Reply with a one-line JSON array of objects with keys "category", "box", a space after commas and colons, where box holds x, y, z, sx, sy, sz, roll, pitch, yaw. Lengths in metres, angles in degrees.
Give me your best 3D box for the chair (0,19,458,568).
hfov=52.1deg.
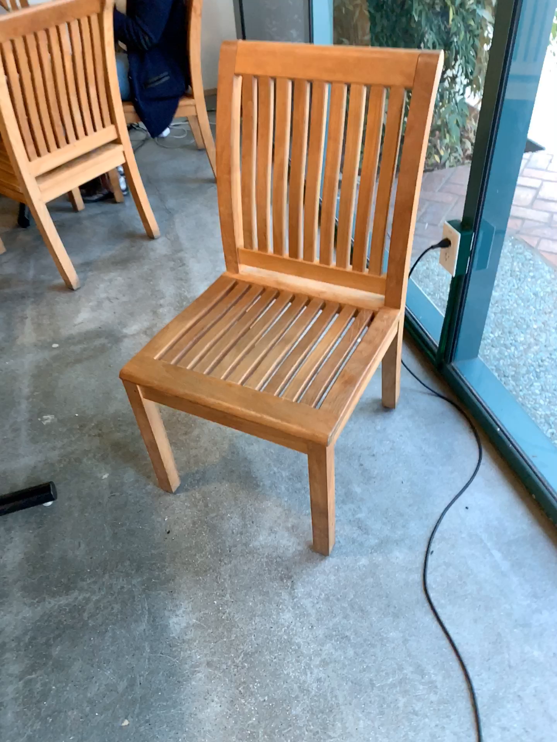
[{"category": "chair", "box": [-0.020, -0.162, 1.246, 0.531, 0.915, 0.612, 17, 47, 22]}]
